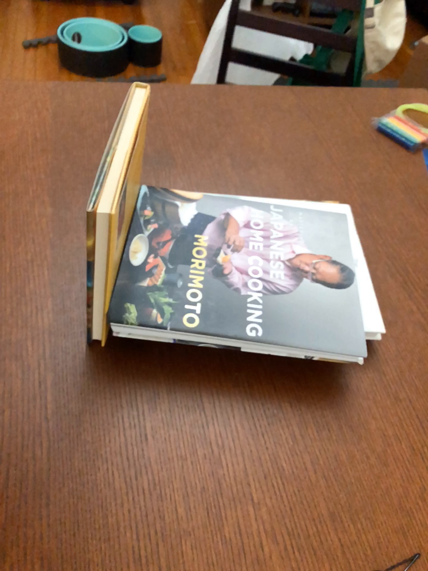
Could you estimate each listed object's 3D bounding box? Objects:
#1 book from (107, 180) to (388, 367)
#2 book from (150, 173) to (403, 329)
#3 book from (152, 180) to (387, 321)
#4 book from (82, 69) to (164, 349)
[{"bbox_3d":[0.039,-0.024,0.550,0.280,0.030,0.221,6,50,-4],"label":"book"},{"bbox_3d":[0.066,-0.050,0.596,0.280,0.030,0.221,2,51,-7],"label":"book"},{"bbox_3d":[0.060,-0.053,0.633,0.280,0.030,0.221,0,51,-8],"label":"book"},{"bbox_3d":[-0.095,-0.077,0.510,0.030,0.209,0.211,10,51,-5],"label":"book"}]
